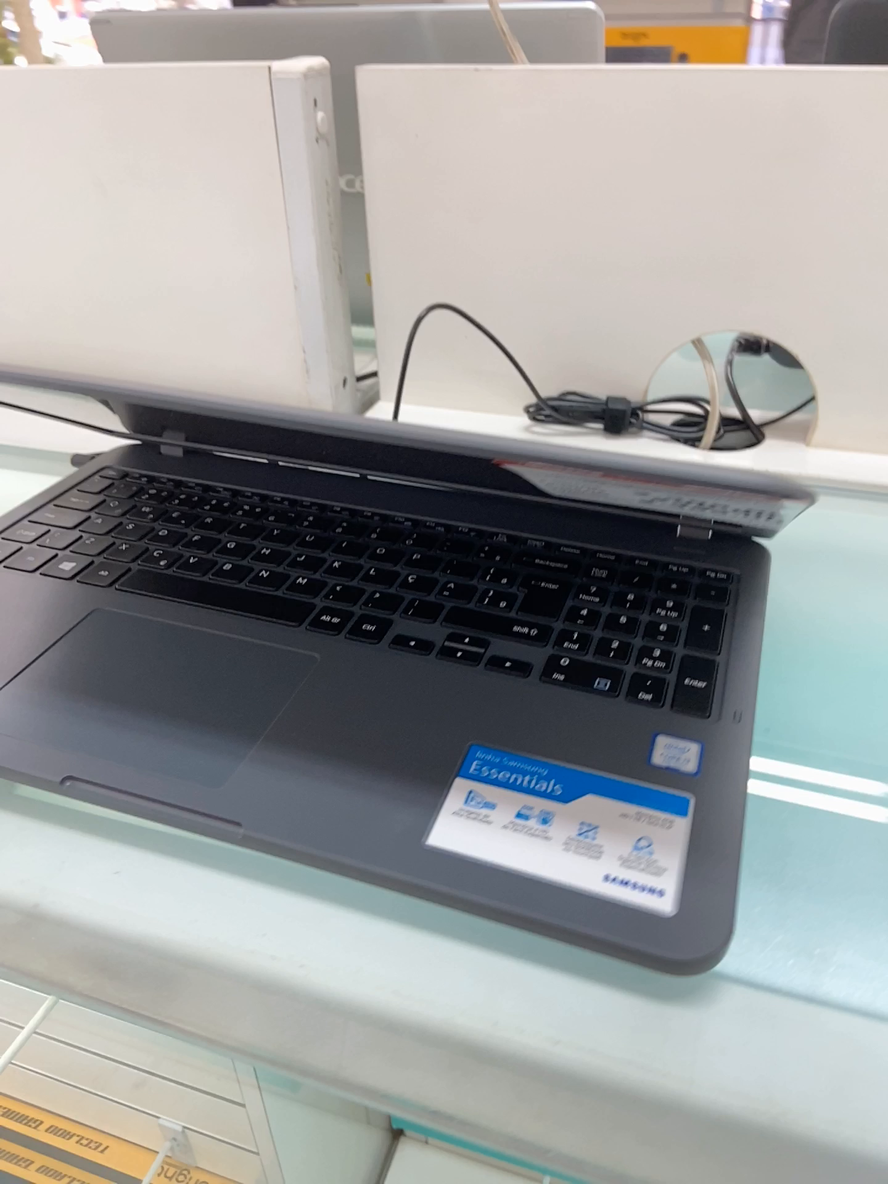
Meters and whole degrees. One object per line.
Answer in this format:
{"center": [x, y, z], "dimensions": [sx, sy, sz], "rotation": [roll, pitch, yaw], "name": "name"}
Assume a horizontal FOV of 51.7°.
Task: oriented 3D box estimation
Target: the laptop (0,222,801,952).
{"center": [-0.061, -0.046, 0.373], "dimensions": [0.367, 0.126, 0.238], "rotation": [11, 36, 16], "name": "laptop"}
